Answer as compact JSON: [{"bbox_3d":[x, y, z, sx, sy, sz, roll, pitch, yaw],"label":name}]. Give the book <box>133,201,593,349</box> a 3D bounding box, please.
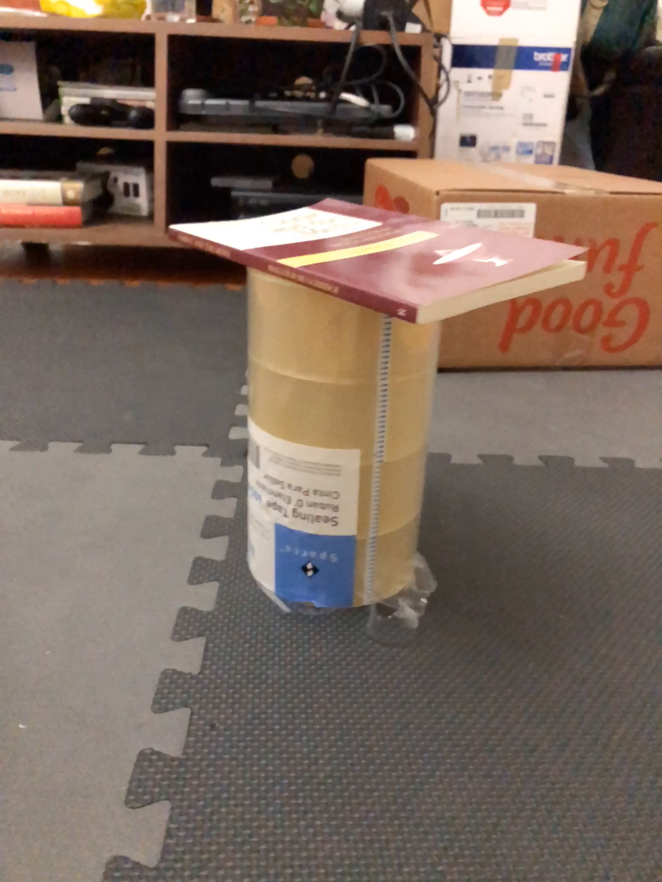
[{"bbox_3d":[0.009,-0.101,0.401,0.140,0.020,0.211,-20,34,-39],"label":"book"}]
